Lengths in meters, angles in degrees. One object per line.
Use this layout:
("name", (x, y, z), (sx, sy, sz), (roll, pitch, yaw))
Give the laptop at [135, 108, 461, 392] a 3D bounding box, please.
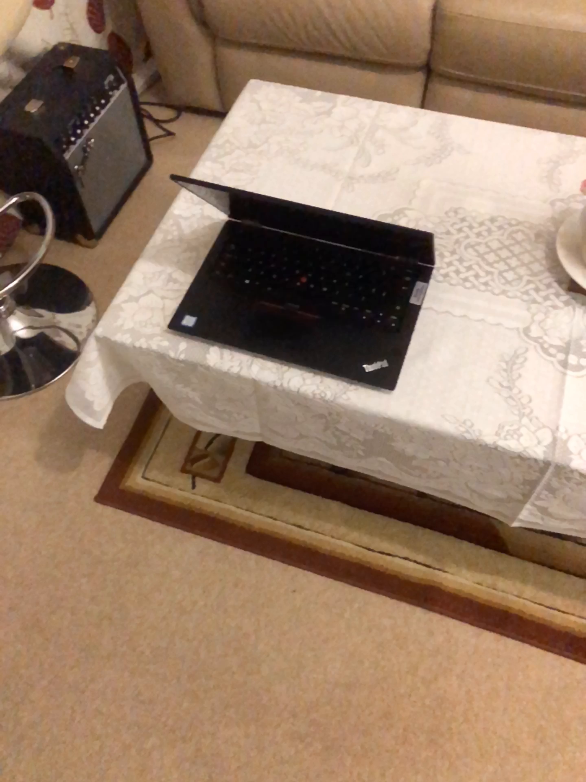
("laptop", (0.012, -0.176, 0.786), (0.309, 0.174, 0.220), (16, 61, 13))
